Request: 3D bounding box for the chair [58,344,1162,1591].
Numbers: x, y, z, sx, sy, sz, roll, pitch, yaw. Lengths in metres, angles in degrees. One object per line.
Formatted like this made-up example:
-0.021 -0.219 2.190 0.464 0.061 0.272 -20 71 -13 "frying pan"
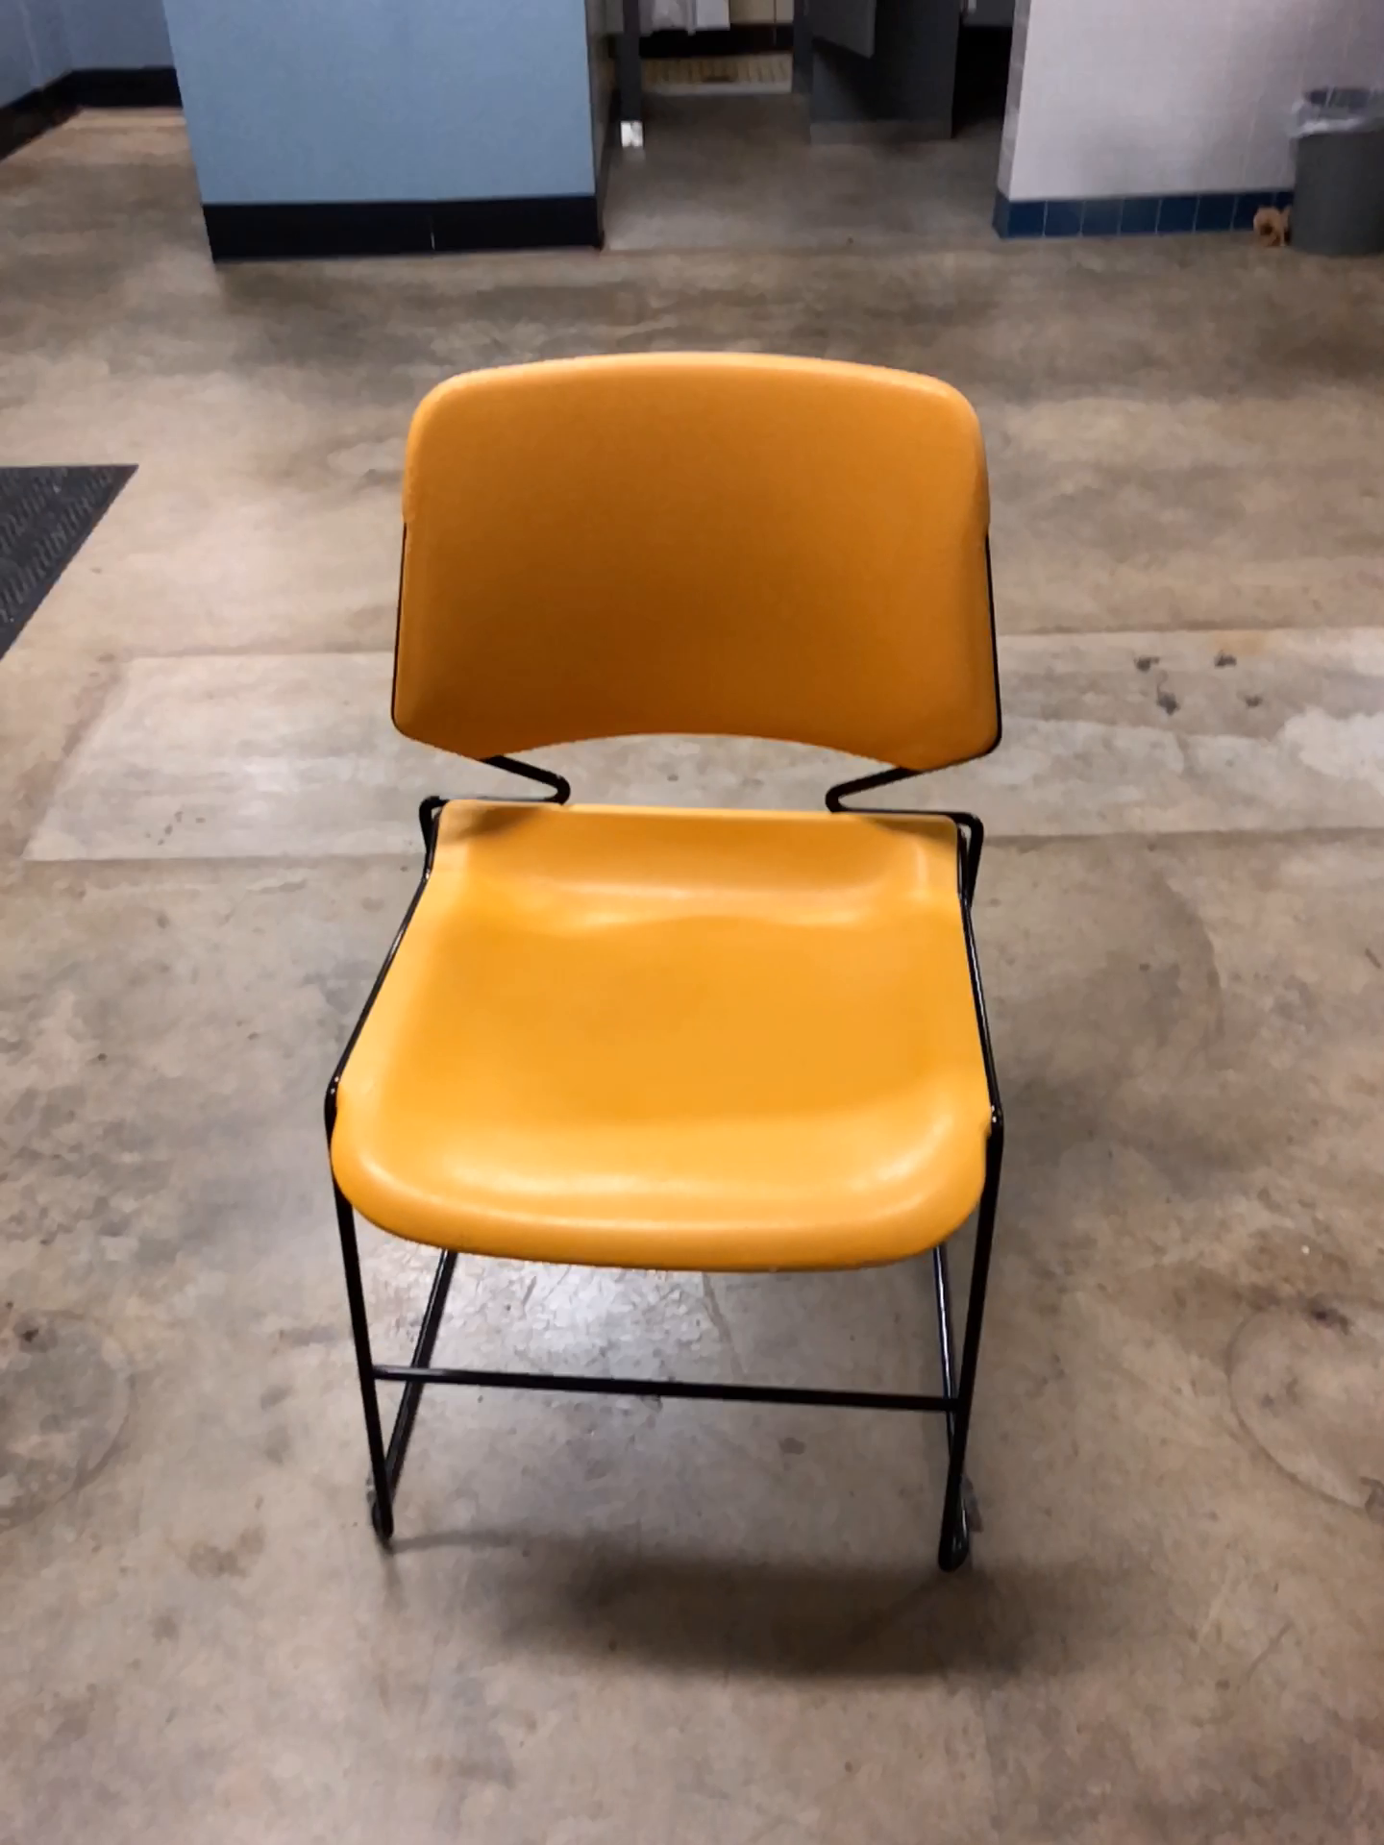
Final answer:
-0.020 0.043 1.172 0.529 0.796 0.526 1 38 4 "chair"
